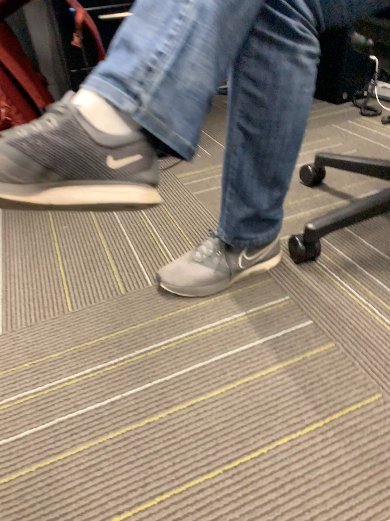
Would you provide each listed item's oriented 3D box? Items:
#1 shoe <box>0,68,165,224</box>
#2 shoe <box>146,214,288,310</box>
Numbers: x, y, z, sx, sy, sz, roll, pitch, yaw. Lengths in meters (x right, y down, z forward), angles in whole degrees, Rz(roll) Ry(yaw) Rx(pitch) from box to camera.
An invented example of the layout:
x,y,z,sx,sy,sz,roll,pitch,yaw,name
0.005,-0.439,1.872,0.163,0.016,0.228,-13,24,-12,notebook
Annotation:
x,y,z,sx,sy,sz,roll,pitch,yaw,name
-0.191,-0.131,0.488,0.295,0.143,0.122,-2,-6,-8,shoe
0.047,-0.003,0.843,0.269,0.085,0.121,-16,37,-14,shoe
